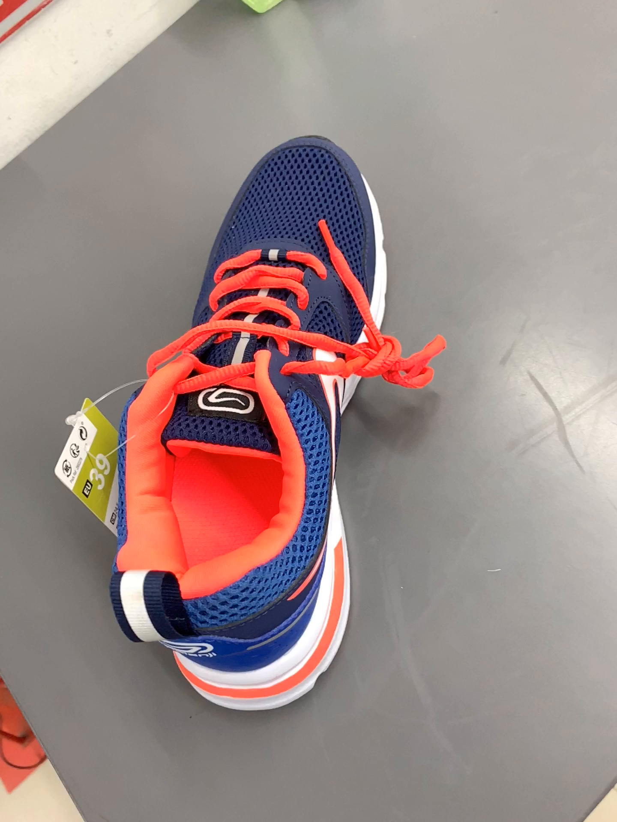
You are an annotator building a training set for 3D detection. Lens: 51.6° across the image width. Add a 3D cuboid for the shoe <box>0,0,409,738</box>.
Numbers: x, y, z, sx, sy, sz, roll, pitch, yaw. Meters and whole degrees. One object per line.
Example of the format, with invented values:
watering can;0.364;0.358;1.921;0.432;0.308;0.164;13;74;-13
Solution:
shoe;-0.022;-0.029;0.283;0.110;0.140;0.290;0;67;14
